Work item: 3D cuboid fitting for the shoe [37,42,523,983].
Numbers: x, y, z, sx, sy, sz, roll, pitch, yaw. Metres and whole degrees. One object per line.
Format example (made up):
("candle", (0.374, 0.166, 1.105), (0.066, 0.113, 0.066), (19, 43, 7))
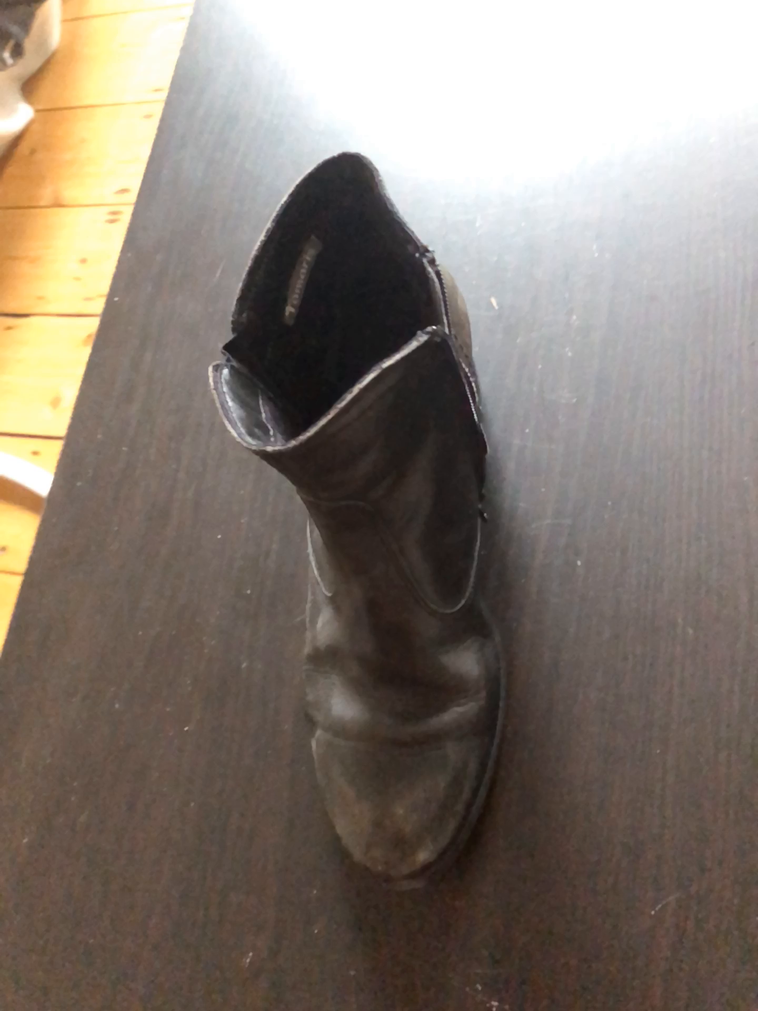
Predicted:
("shoe", (-0.008, 0.006, 0.320), (0.090, 0.170, 0.270), (-1, 71, 18))
